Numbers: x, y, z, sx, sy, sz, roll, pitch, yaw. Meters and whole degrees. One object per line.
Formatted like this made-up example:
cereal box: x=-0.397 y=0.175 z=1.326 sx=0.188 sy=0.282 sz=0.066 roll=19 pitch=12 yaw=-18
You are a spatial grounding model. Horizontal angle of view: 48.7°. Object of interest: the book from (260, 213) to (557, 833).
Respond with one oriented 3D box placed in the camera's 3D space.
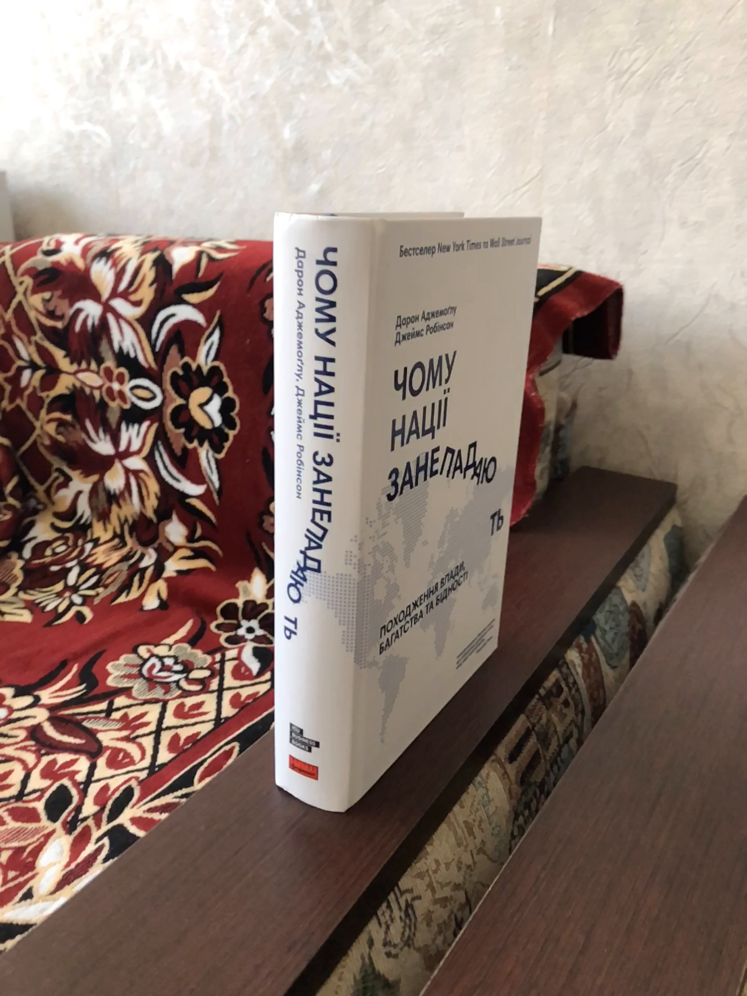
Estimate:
book: x=0.018 y=-0.003 z=0.337 sx=0.042 sy=0.212 sz=0.151 roll=13 pitch=23 yaw=28
